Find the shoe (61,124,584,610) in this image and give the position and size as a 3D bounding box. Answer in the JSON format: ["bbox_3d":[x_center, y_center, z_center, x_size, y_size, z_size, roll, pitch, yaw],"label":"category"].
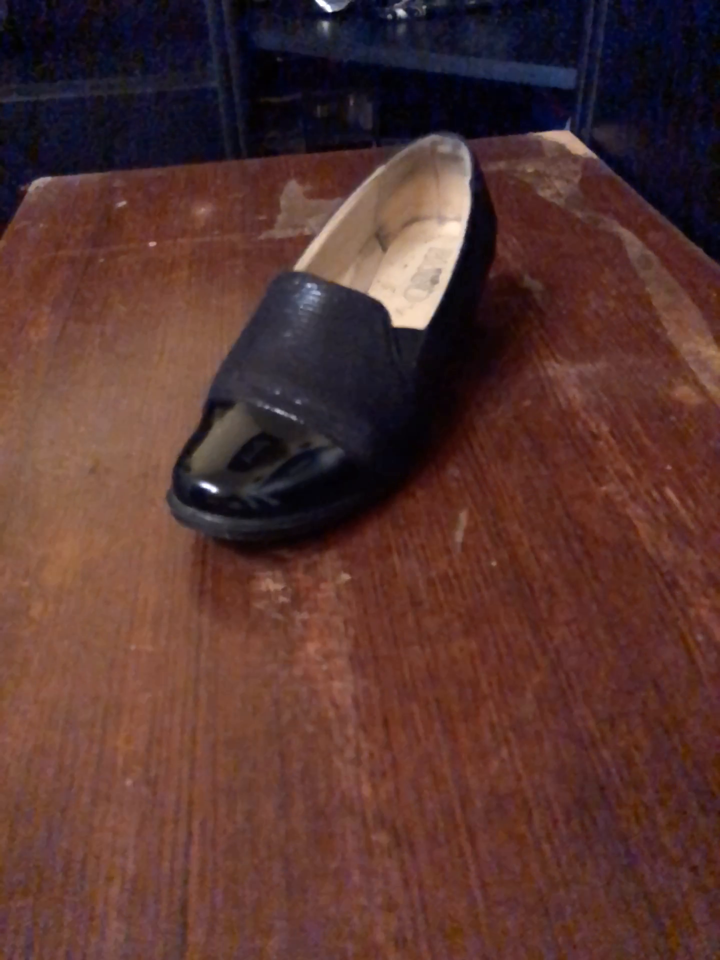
[{"bbox_3d":[0.005,-0.068,0.334,0.090,0.070,0.237,20,50,26],"label":"shoe"}]
